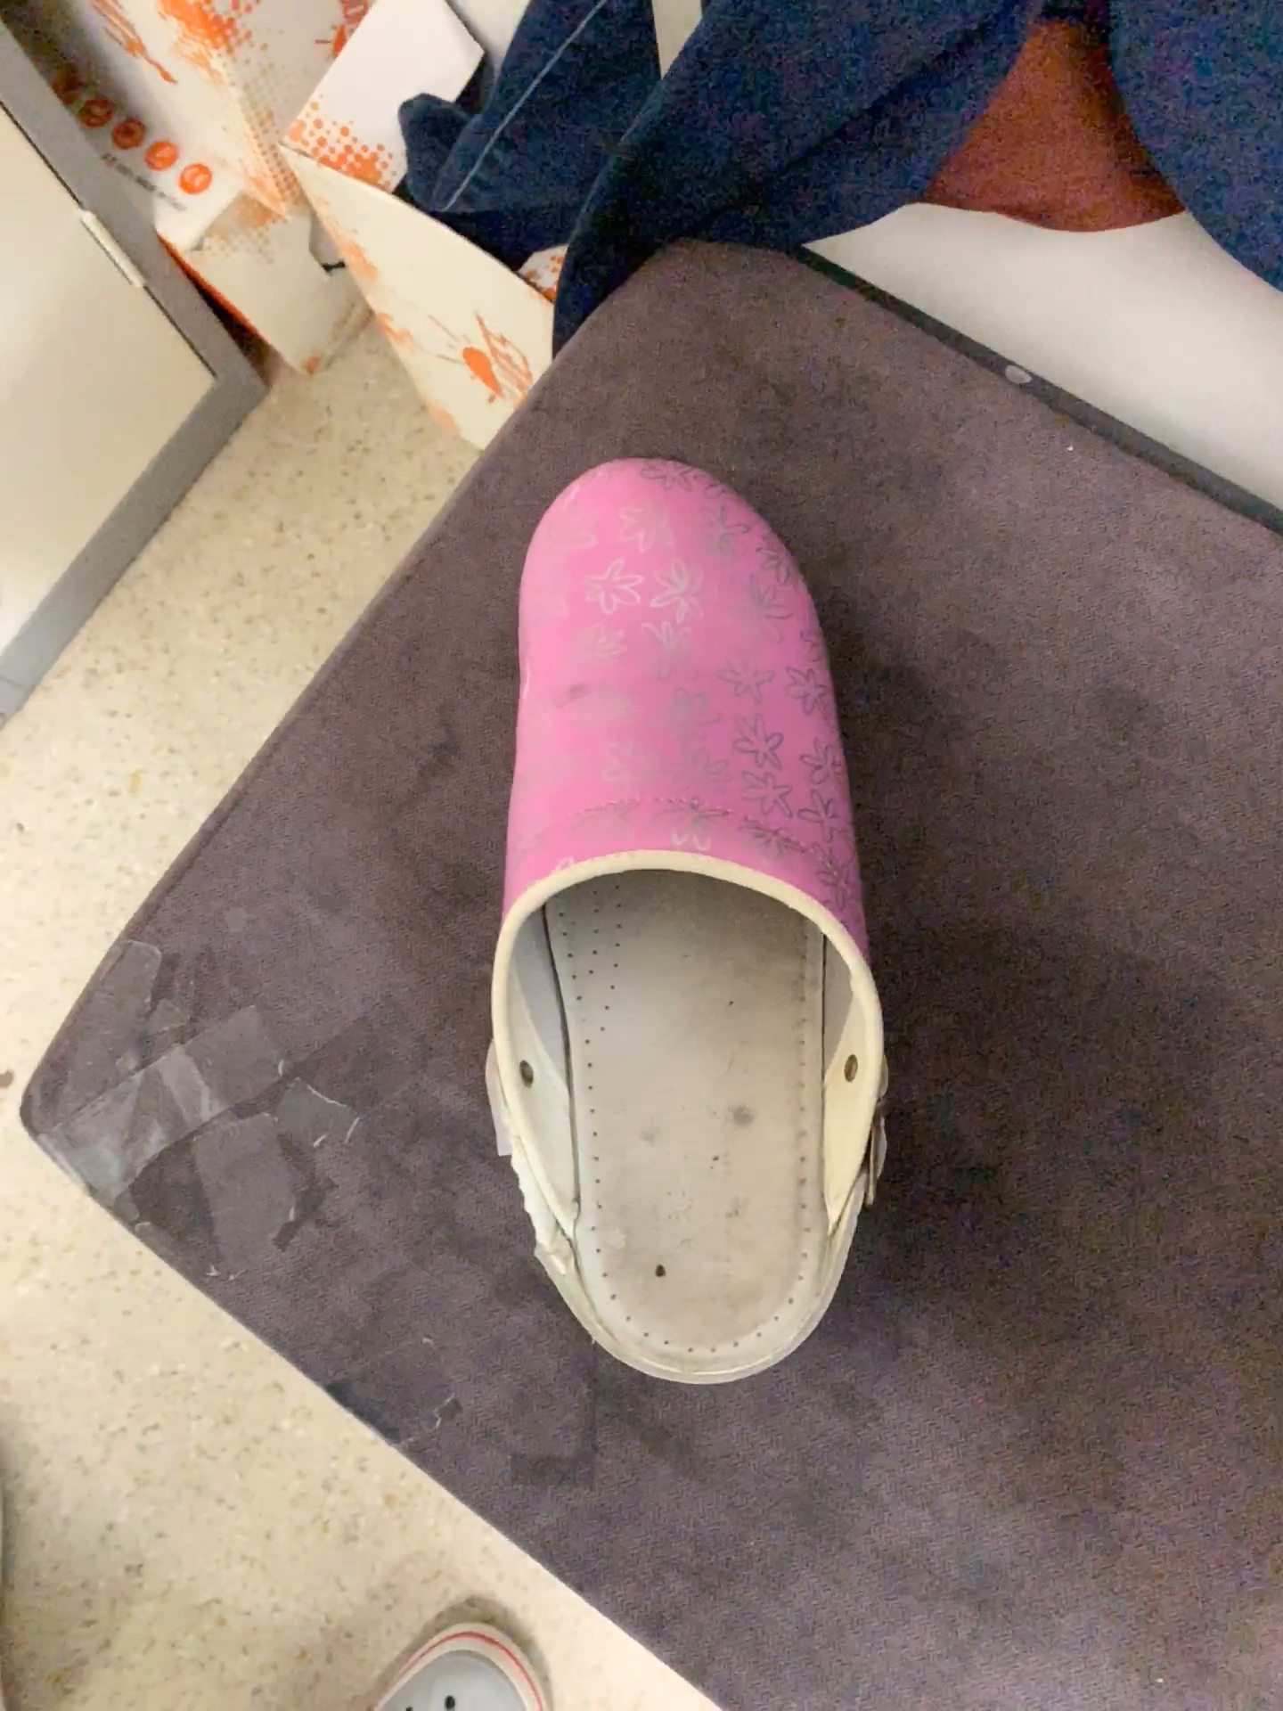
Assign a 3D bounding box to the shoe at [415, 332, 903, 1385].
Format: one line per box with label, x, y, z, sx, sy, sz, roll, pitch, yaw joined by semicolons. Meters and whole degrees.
shoe;0.004;0.001;0.328;0.100;0.080;0.230;-2;80;5
